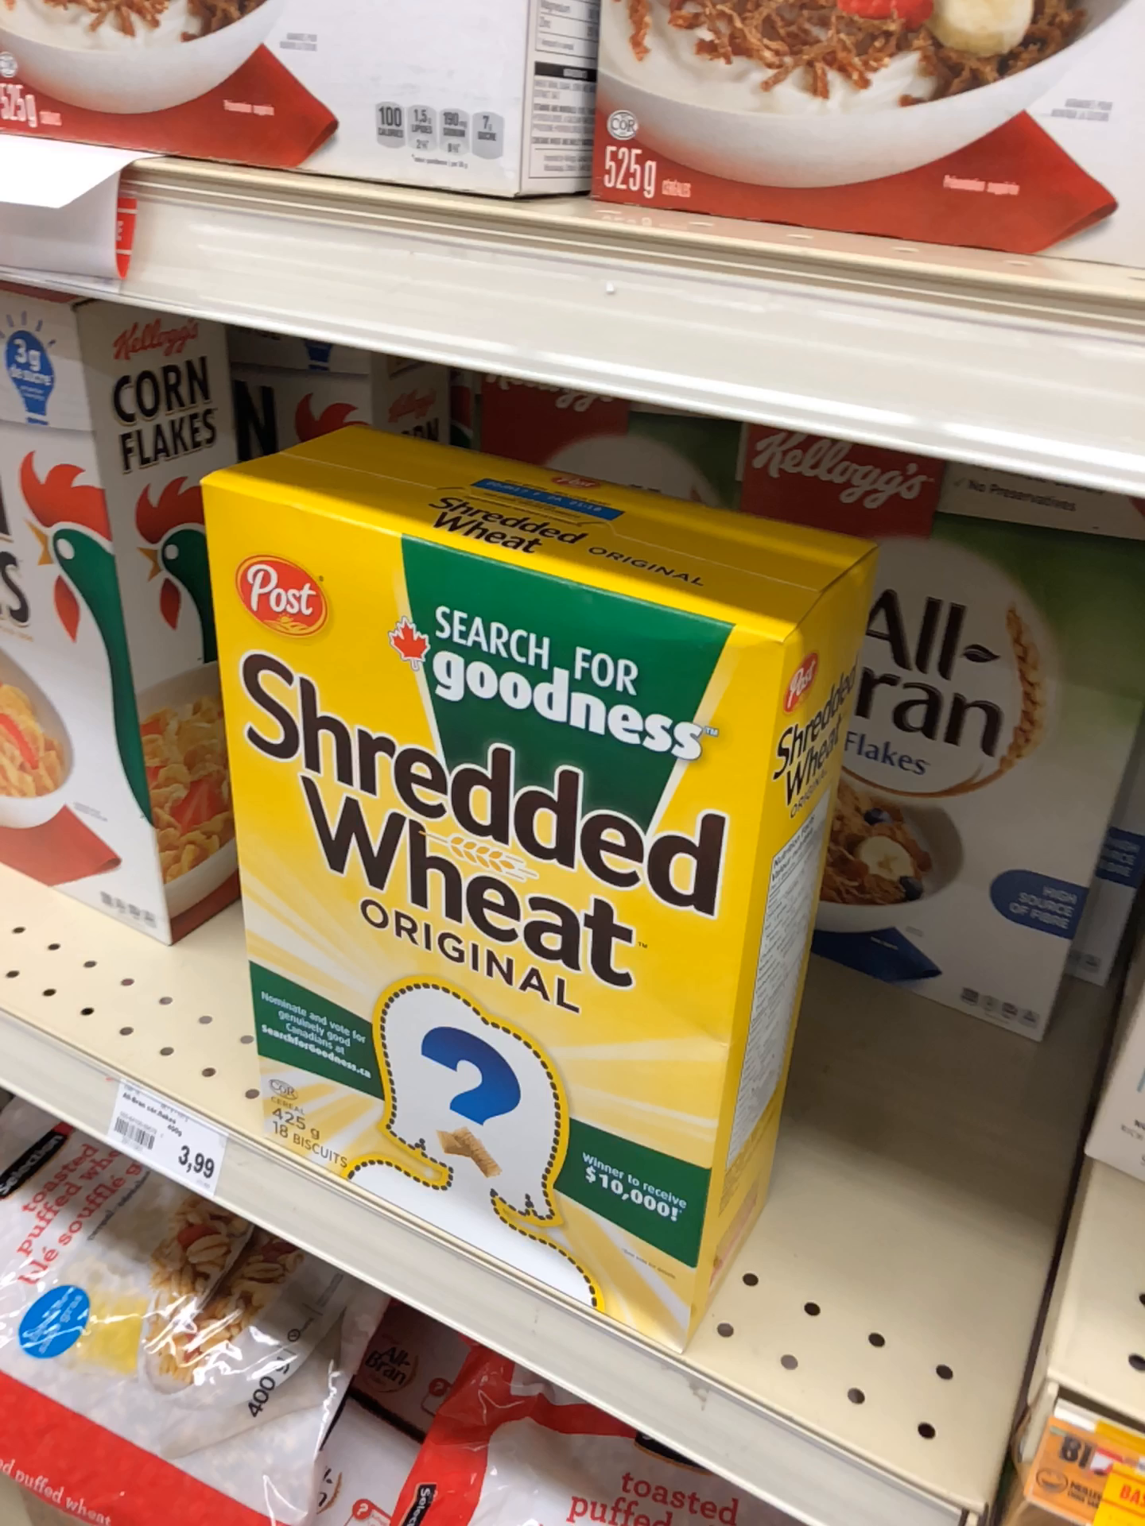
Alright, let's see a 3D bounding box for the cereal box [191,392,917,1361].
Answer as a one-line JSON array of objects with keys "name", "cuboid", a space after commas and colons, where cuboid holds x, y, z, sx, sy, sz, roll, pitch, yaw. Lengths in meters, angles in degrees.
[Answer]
[{"name": "cereal box", "cuboid": [-0.014, 0.040, 0.442, 0.200, 0.288, 0.081, 17, 33, 24]}]
